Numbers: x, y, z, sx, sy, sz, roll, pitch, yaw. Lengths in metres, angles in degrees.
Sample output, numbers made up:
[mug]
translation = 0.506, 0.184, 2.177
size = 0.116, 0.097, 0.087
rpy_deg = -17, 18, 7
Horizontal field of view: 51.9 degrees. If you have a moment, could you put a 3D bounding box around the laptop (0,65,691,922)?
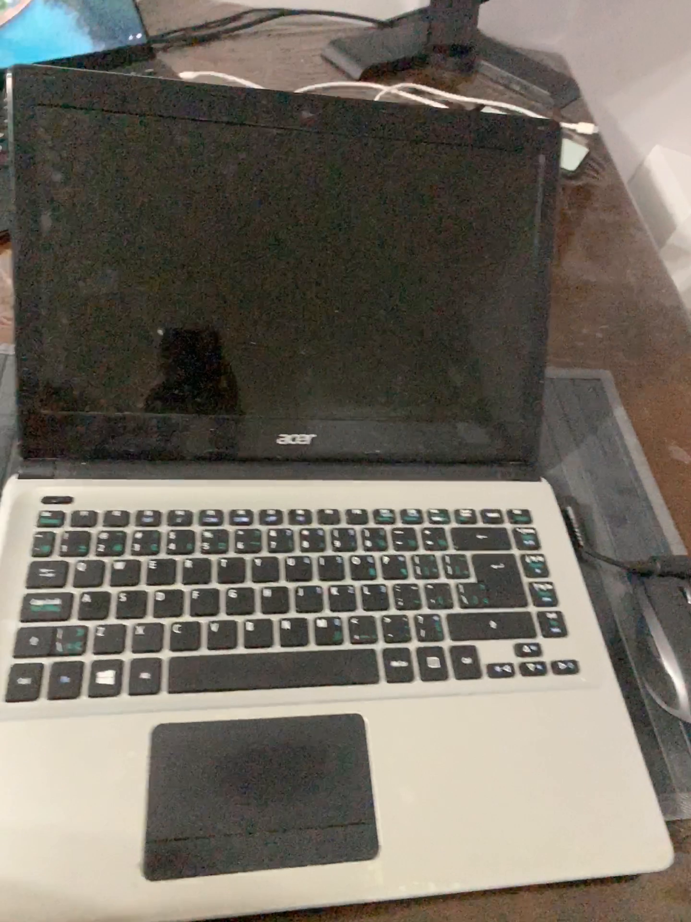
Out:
[laptop]
translation = -0.014, -0.010, 0.356
size = 0.330, 0.146, 0.387
rpy_deg = 1, 53, -12
